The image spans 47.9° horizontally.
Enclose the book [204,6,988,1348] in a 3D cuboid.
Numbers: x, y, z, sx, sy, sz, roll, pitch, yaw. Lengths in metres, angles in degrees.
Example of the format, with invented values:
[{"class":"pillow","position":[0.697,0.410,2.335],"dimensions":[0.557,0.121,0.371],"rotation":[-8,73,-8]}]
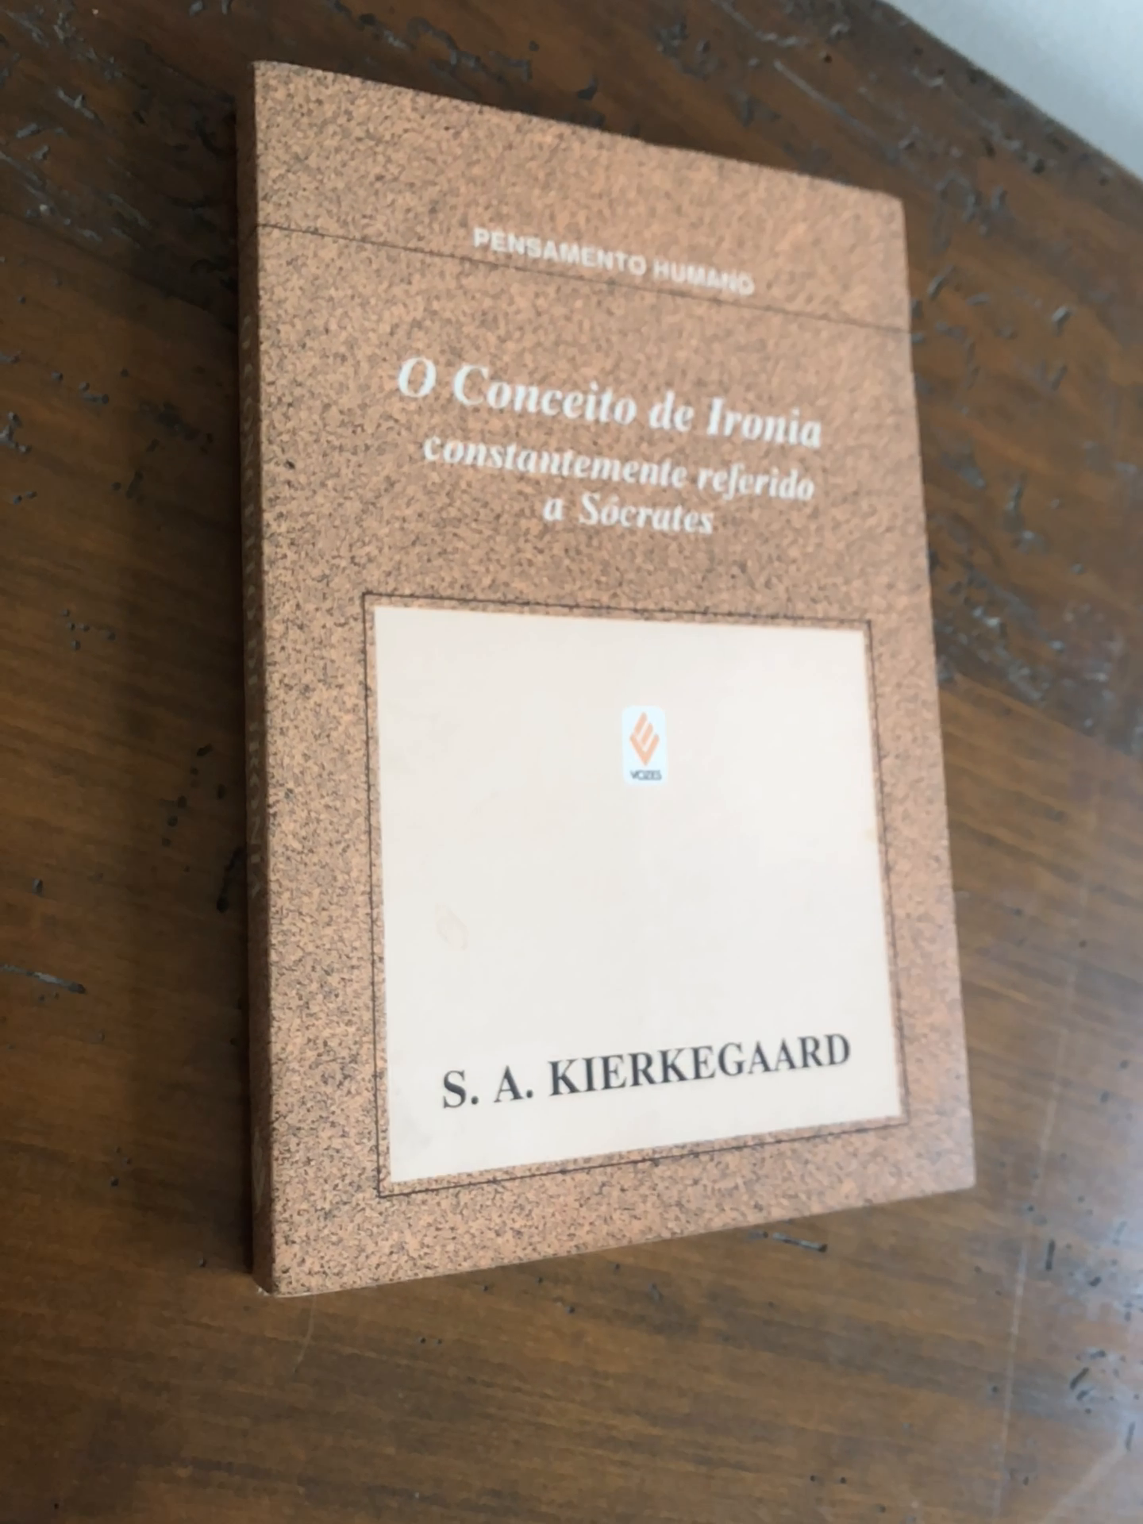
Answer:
[{"class":"book","position":[0.006,-0.019,0.248],"dimensions":[0.145,0.024,0.220],"rotation":[0,83,-24]}]
